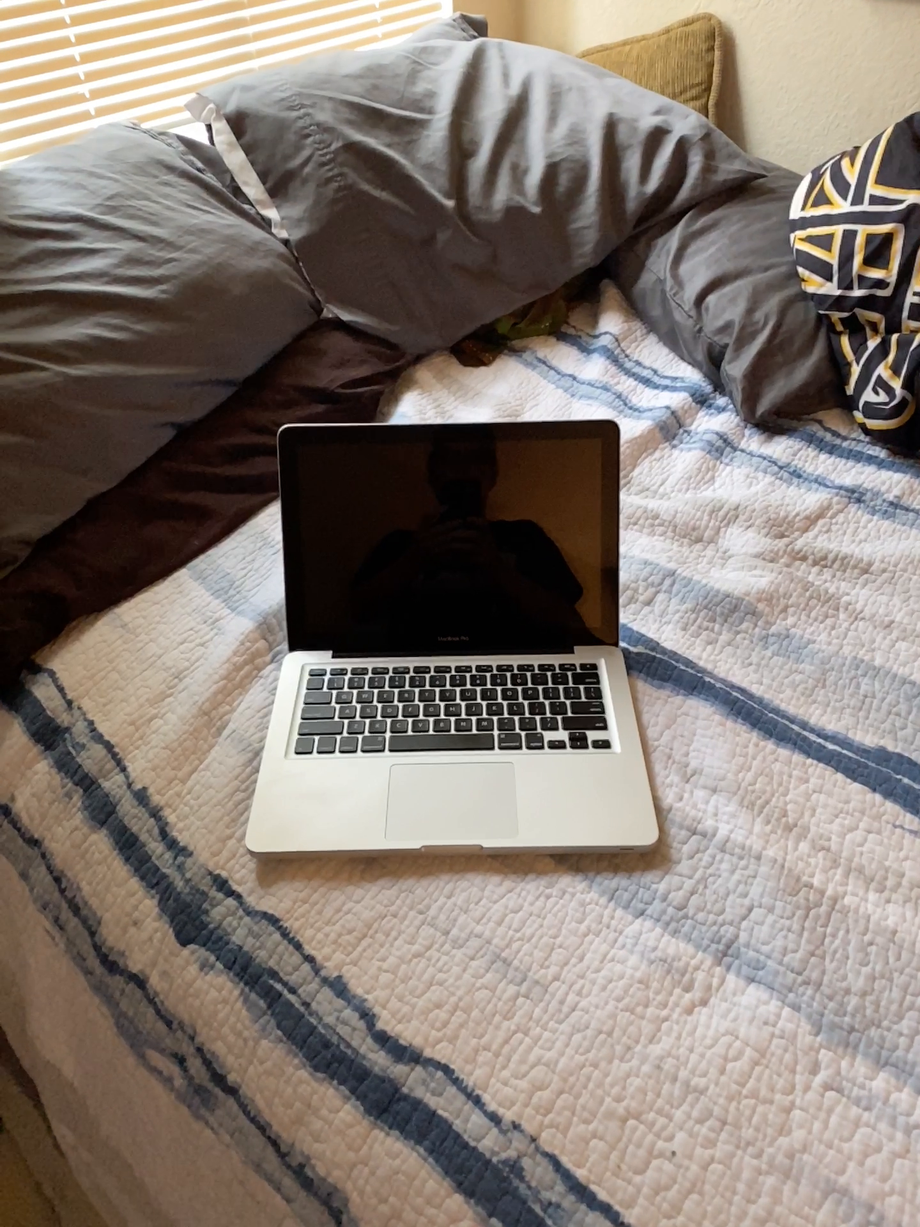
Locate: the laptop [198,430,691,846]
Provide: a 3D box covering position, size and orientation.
[{"bbox_3d":[-0.010,0.004,0.796,0.319,0.169,0.348,-1,40,1],"label":"laptop"}]
